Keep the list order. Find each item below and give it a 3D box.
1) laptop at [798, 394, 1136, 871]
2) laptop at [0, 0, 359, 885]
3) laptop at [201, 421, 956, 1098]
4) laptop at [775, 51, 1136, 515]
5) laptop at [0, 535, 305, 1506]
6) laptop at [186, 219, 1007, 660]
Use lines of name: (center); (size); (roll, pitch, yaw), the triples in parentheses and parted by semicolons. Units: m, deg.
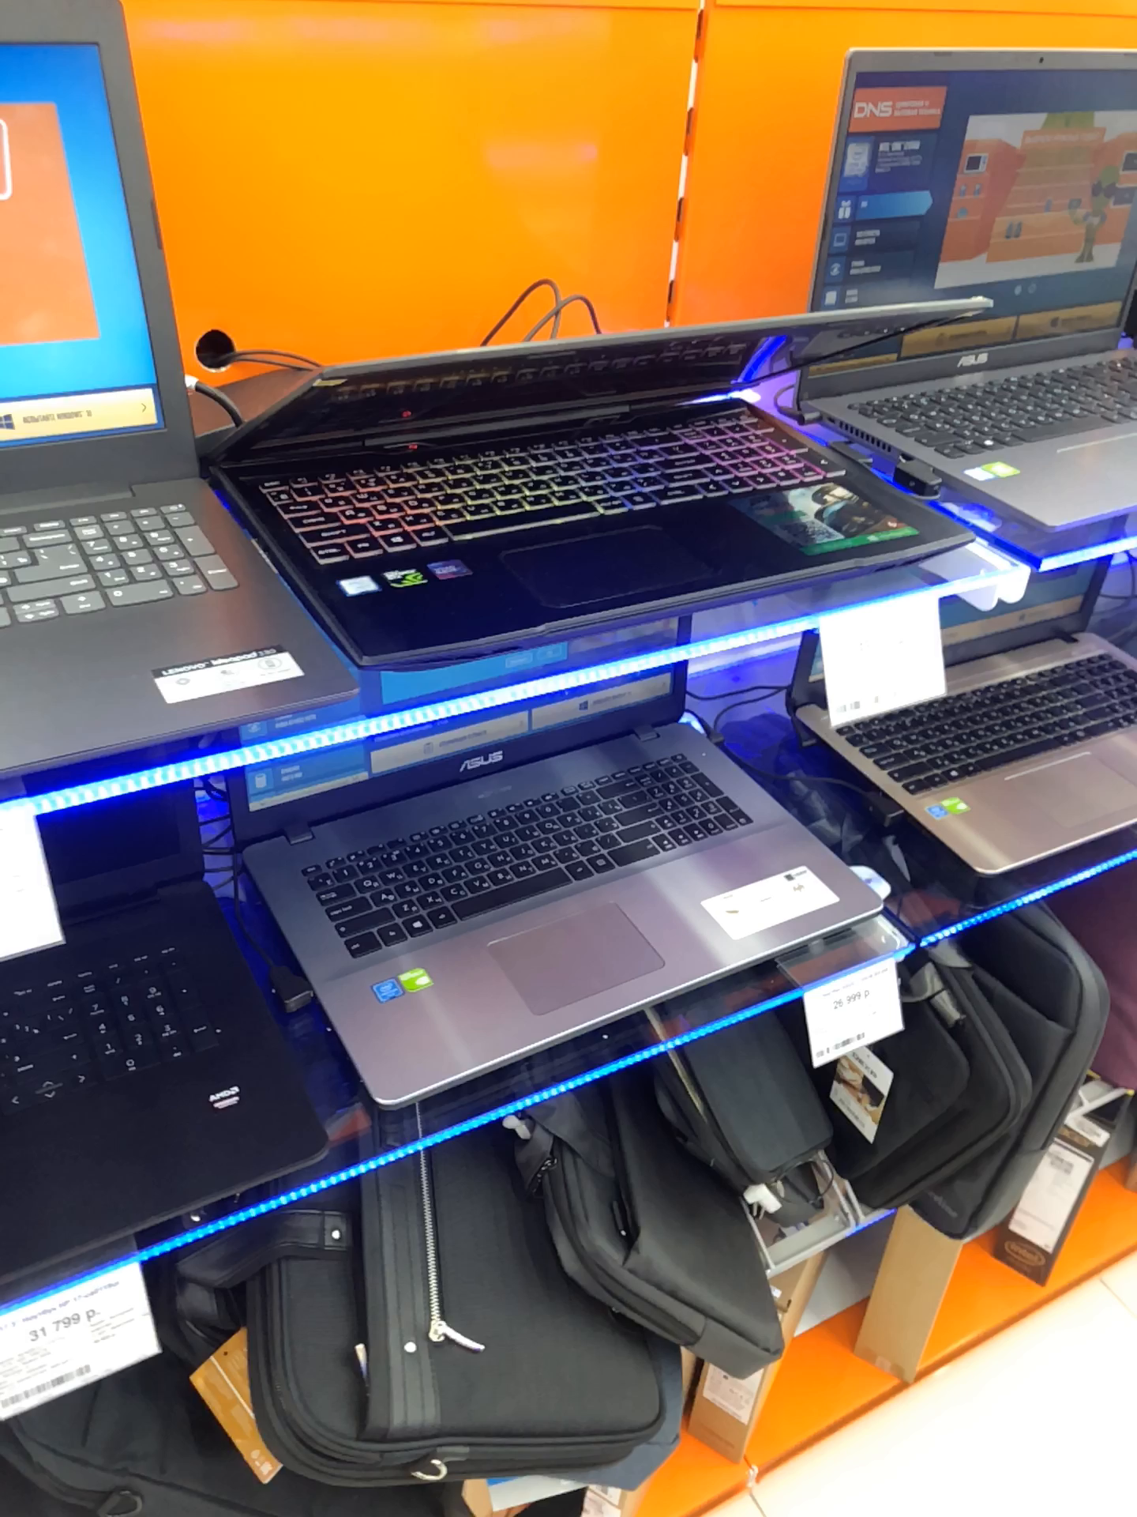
laptop: (0.425, -0.120, 1.032); (0.359, 0.240, 0.230); (-15, 40, -25)
laptop: (-0.329, -0.172, 0.517); (0.359, 0.228, 0.319); (-15, 39, -27)
laptop: (-0.004, -0.030, 0.862); (0.395, 0.256, 0.288); (-15, 40, -26)
laptop: (0.378, -0.338, 0.846); (0.352, 0.216, 0.231); (-18, 41, -28)
laptop: (-0.382, 0.091, 0.644); (0.407, 0.270, 0.273); (-14, 38, -26)
laptop: (0.010, -0.200, 0.691); (0.364, 0.121, 0.244); (-15, 39, -26)
